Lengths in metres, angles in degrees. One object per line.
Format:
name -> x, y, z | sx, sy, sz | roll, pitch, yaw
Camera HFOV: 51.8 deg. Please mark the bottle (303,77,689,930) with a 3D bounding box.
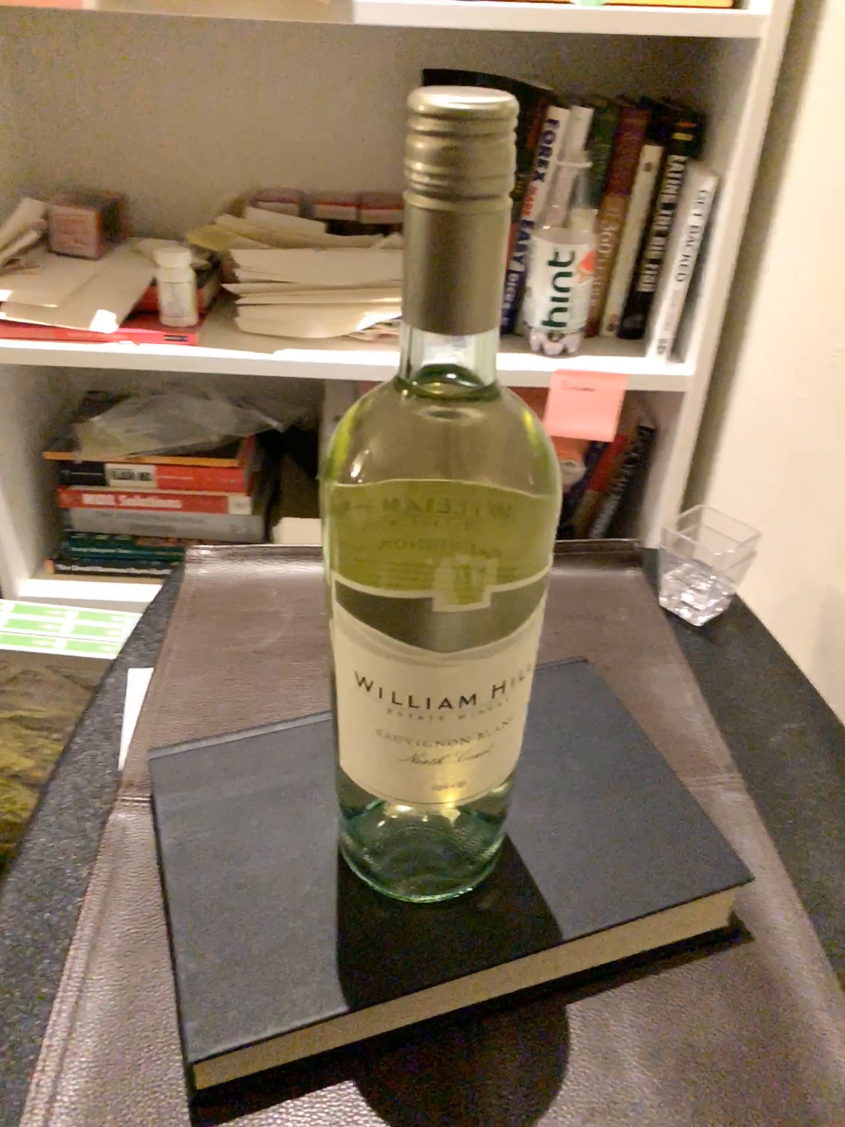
bottle -> 0.007, -0.002, 0.318 | 0.090, 0.298, 0.091 | 2, 33, -1
